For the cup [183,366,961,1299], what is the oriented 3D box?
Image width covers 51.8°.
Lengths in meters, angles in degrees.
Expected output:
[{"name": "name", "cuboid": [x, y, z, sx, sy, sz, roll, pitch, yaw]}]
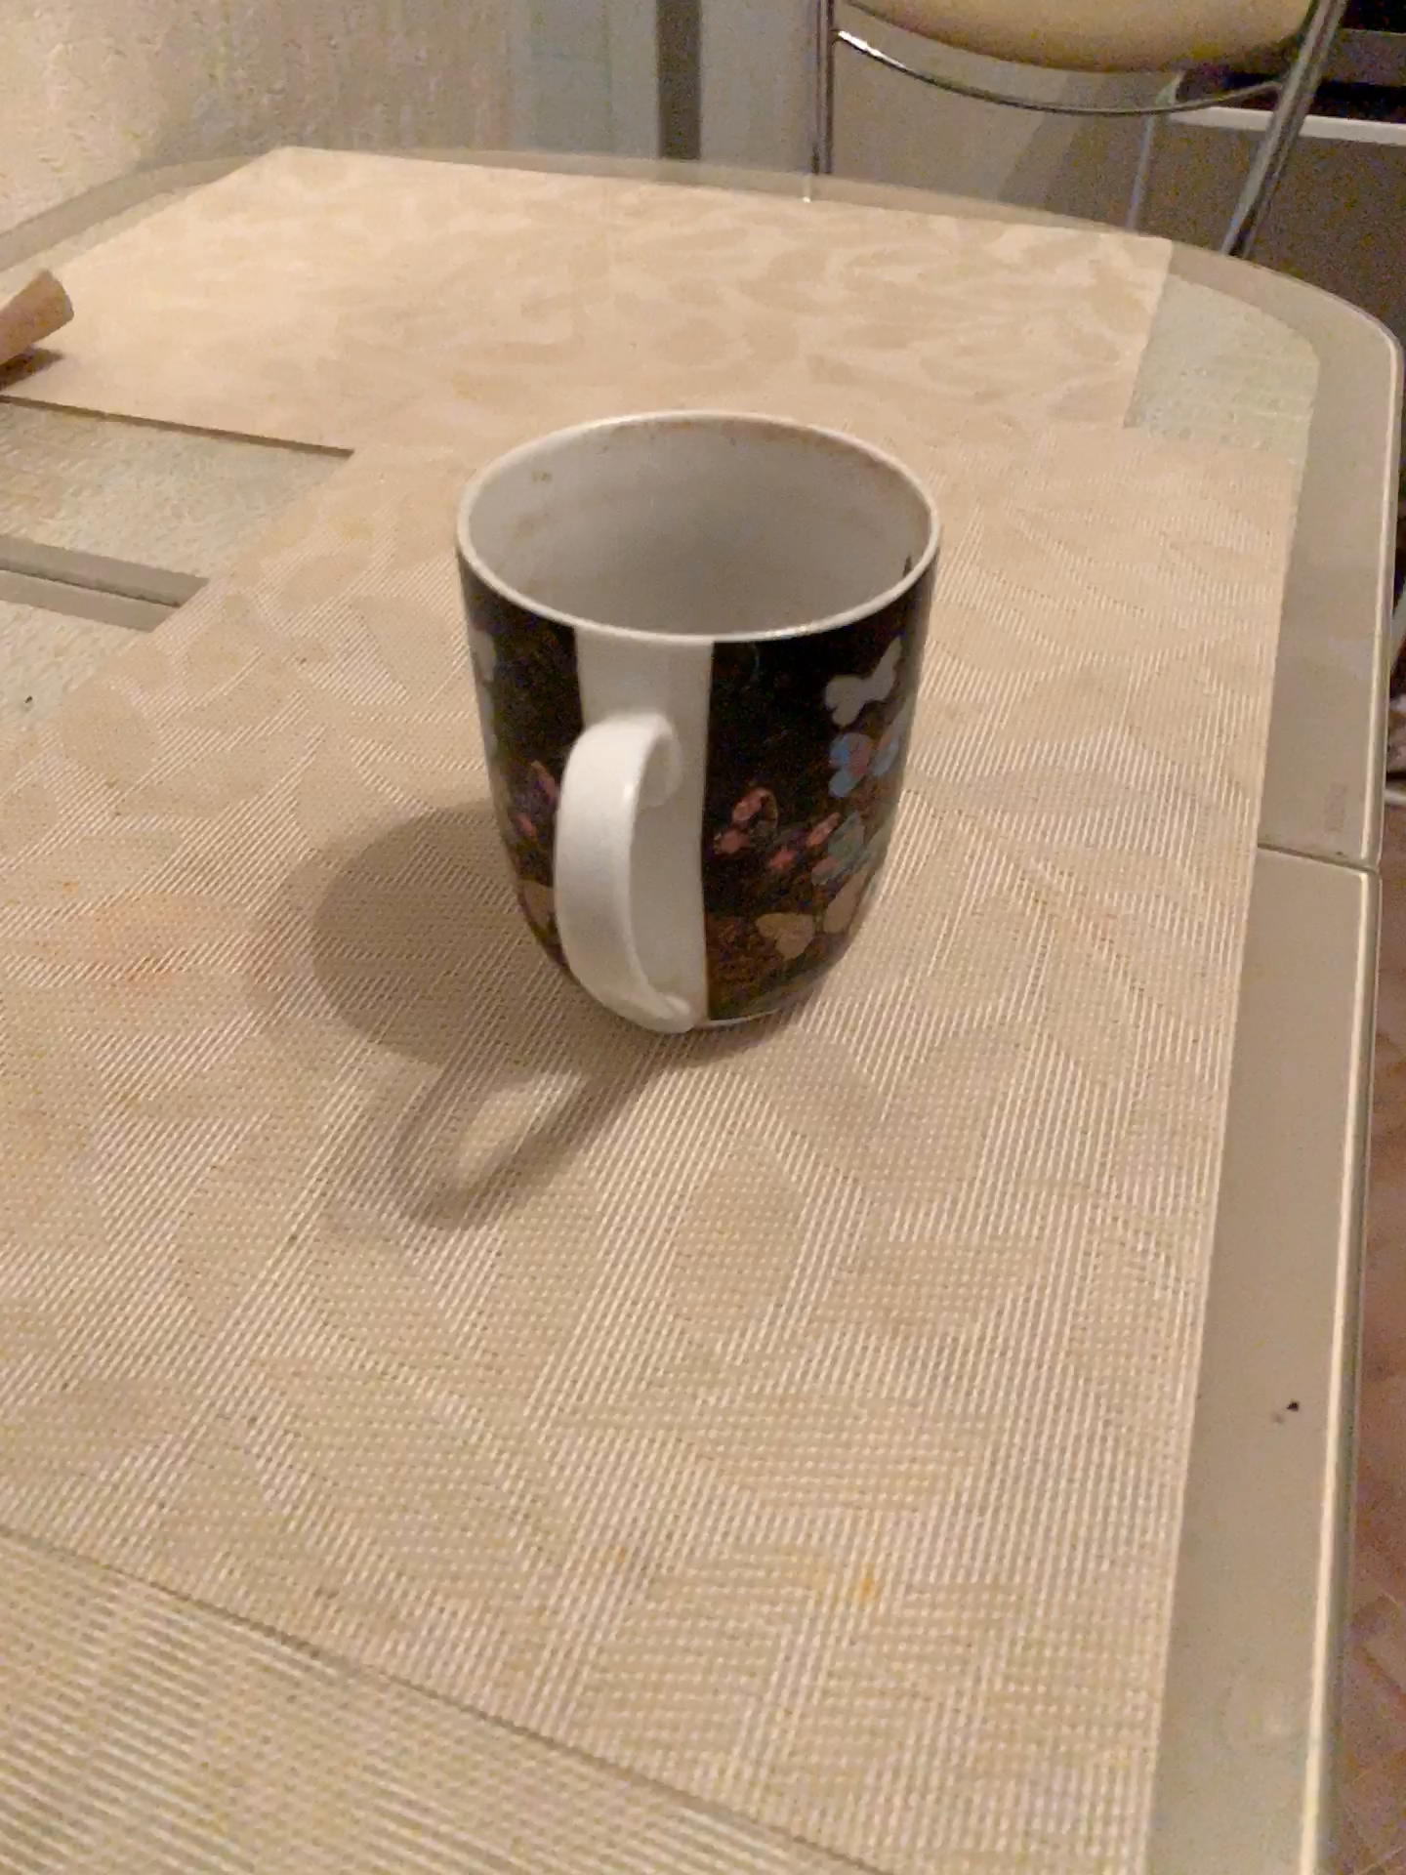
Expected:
[{"name": "cup", "cuboid": [-0.011, -0.025, 0.260, 0.082, 0.097, 0.126, 12, 45, 13]}]
